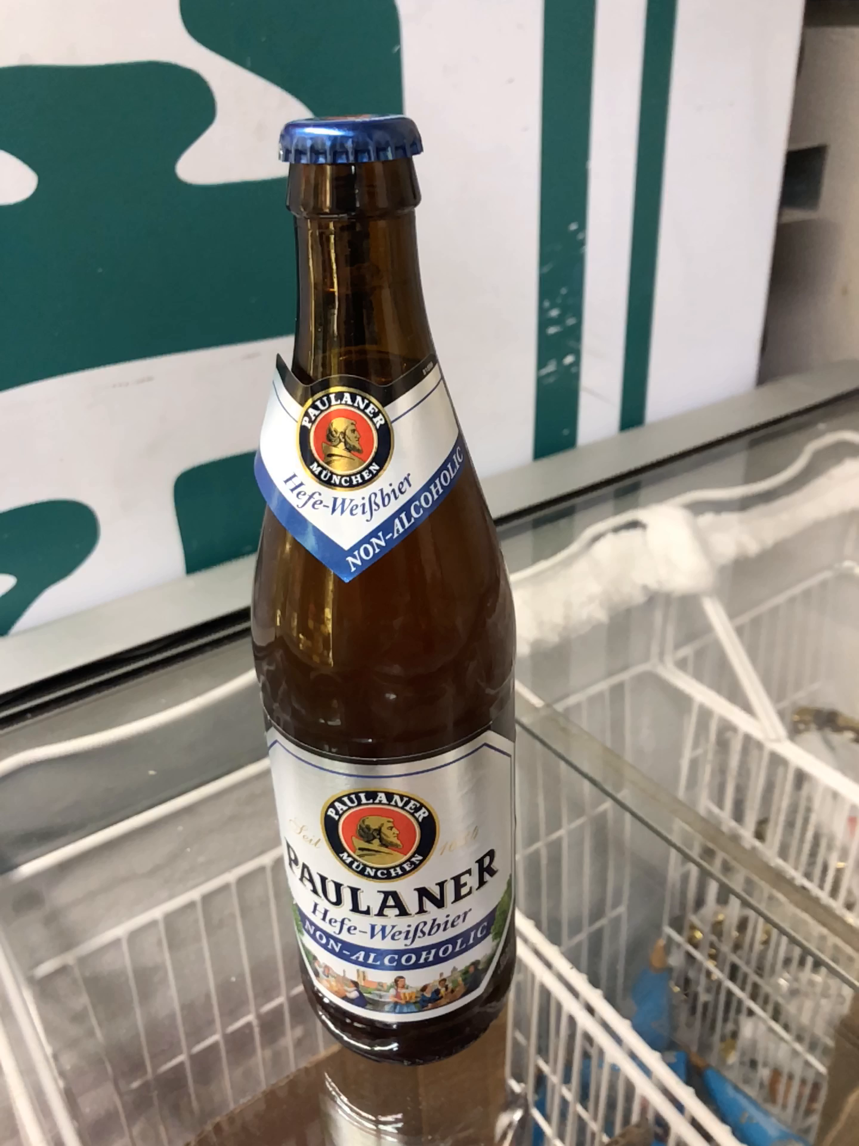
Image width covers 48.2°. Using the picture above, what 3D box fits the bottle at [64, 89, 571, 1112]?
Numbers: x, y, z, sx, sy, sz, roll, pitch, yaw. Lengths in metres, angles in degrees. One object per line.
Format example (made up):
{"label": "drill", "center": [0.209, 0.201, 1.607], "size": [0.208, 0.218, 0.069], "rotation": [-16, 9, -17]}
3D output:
{"label": "bottle", "center": [-0.010, 0.020, 0.242], "size": [0.080, 0.248, 0.071], "rotation": [3, 29, 10]}
